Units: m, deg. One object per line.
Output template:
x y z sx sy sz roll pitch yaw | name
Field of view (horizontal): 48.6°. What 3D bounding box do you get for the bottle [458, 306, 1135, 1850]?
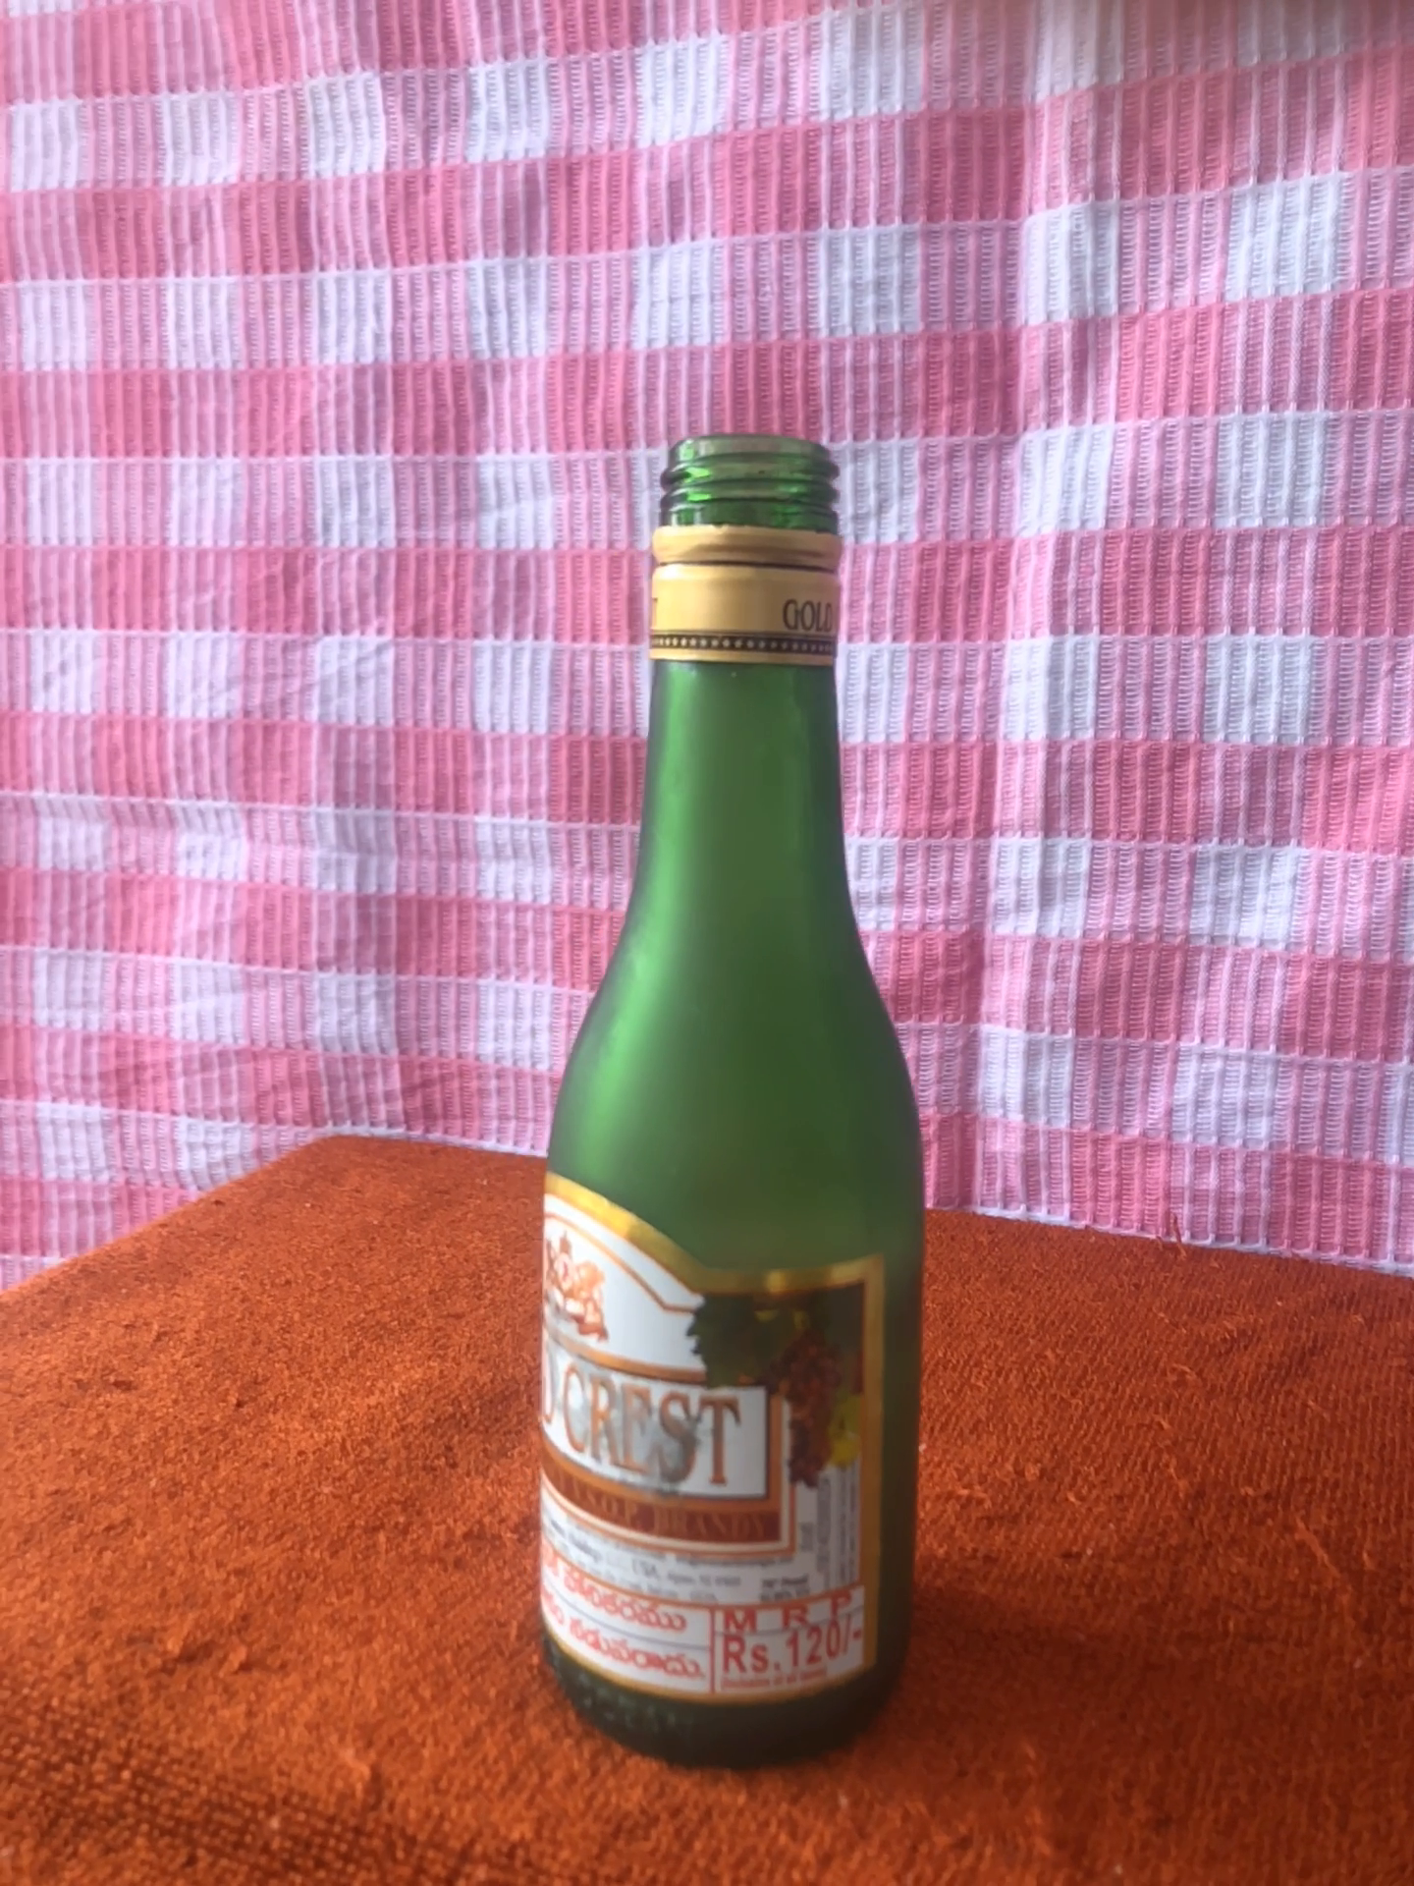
0.006 0.014 0.206 0.060 0.170 0.060 2 11 0 | bottle
